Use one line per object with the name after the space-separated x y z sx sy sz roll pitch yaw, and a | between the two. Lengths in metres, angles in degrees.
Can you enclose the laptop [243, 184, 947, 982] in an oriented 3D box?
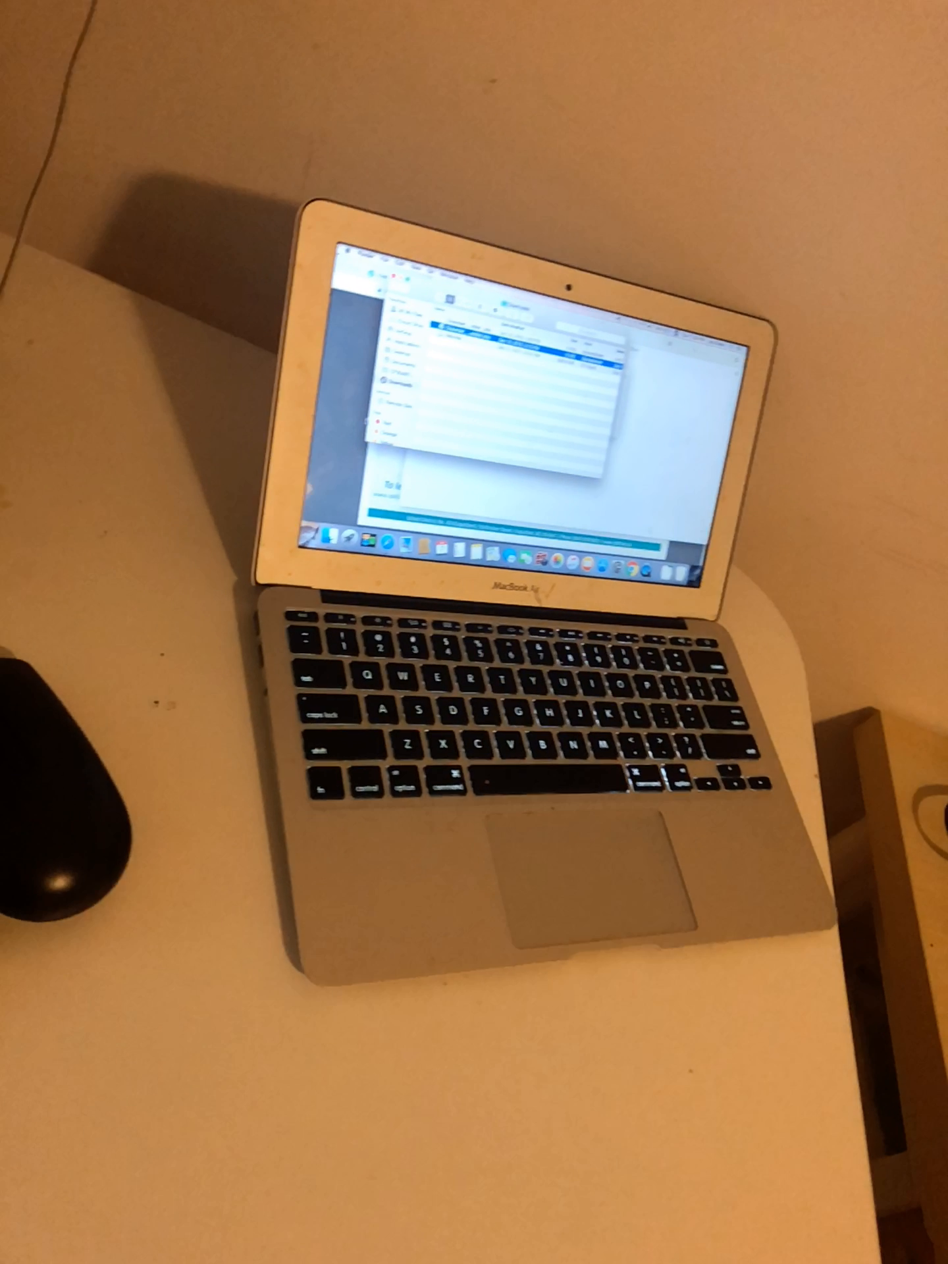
0.061 -0.025 0.496 0.280 0.127 0.306 3 57 -28 | laptop
